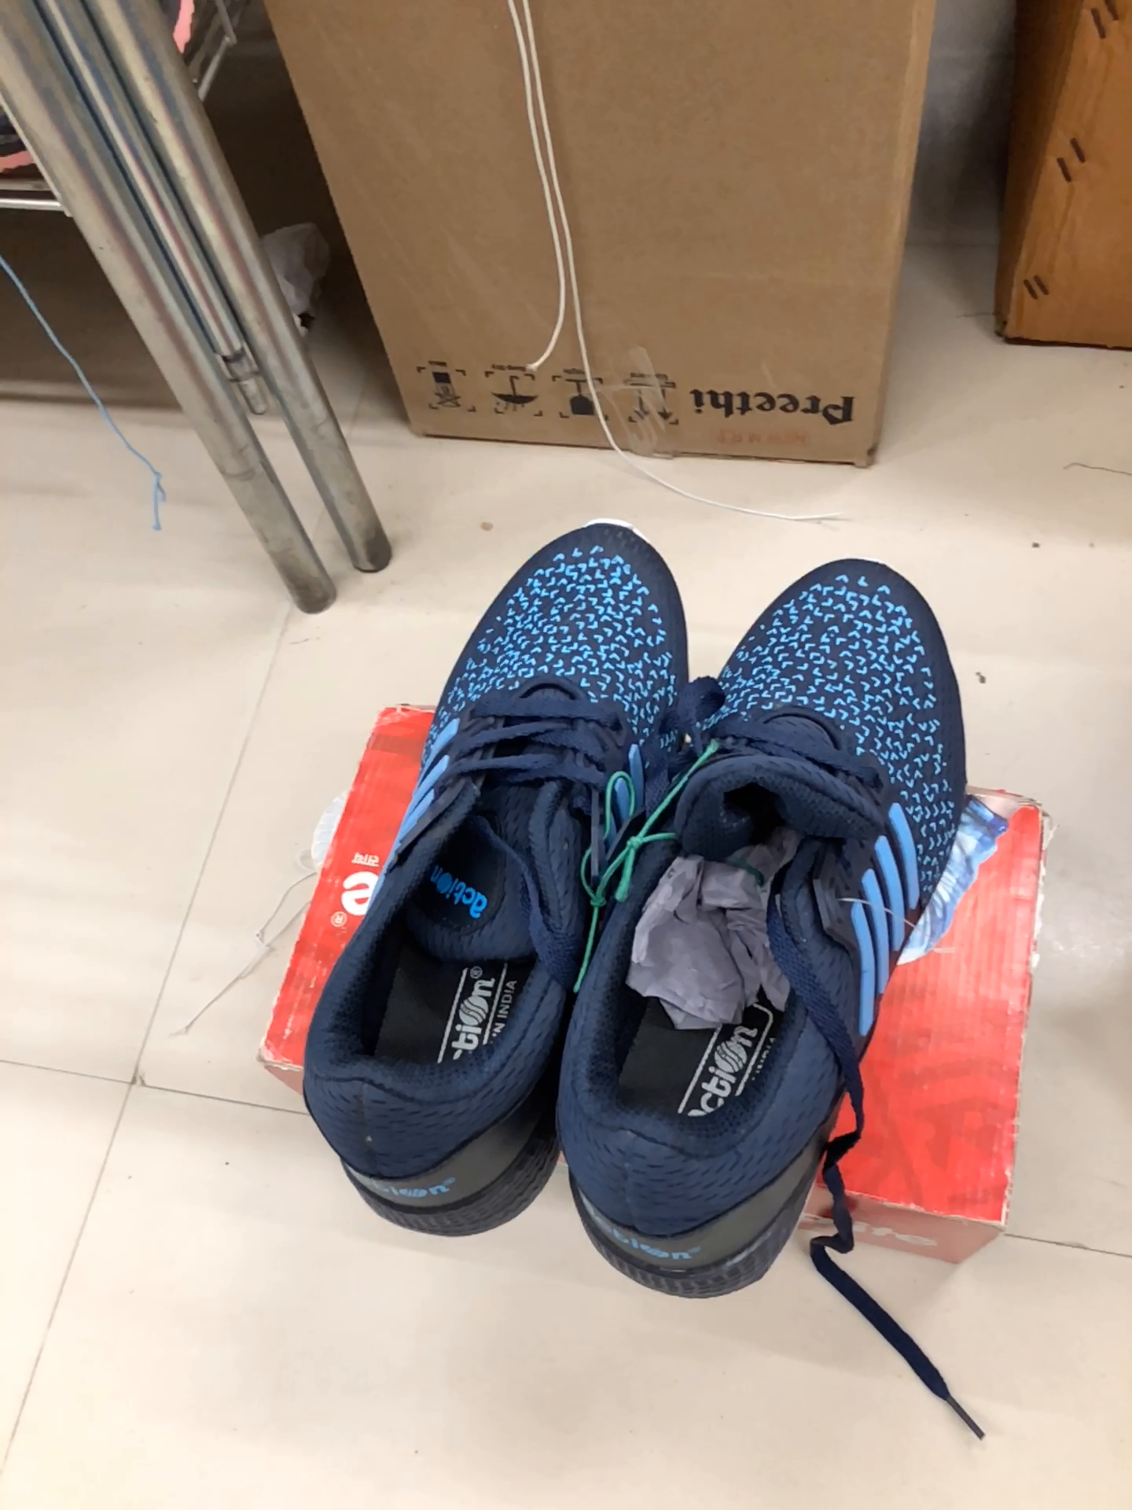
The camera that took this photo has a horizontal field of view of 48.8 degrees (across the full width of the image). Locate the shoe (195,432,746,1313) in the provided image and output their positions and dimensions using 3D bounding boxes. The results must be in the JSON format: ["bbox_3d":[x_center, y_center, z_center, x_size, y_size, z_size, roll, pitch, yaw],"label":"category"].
[{"bbox_3d":[-0.011,0.038,0.436,0.101,0.133,0.264,8,64,13],"label":"shoe"}]

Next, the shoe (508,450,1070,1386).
[{"bbox_3d":[0.082,0.051,0.414,0.093,0.133,0.264,14,65,16],"label":"shoe"}]
